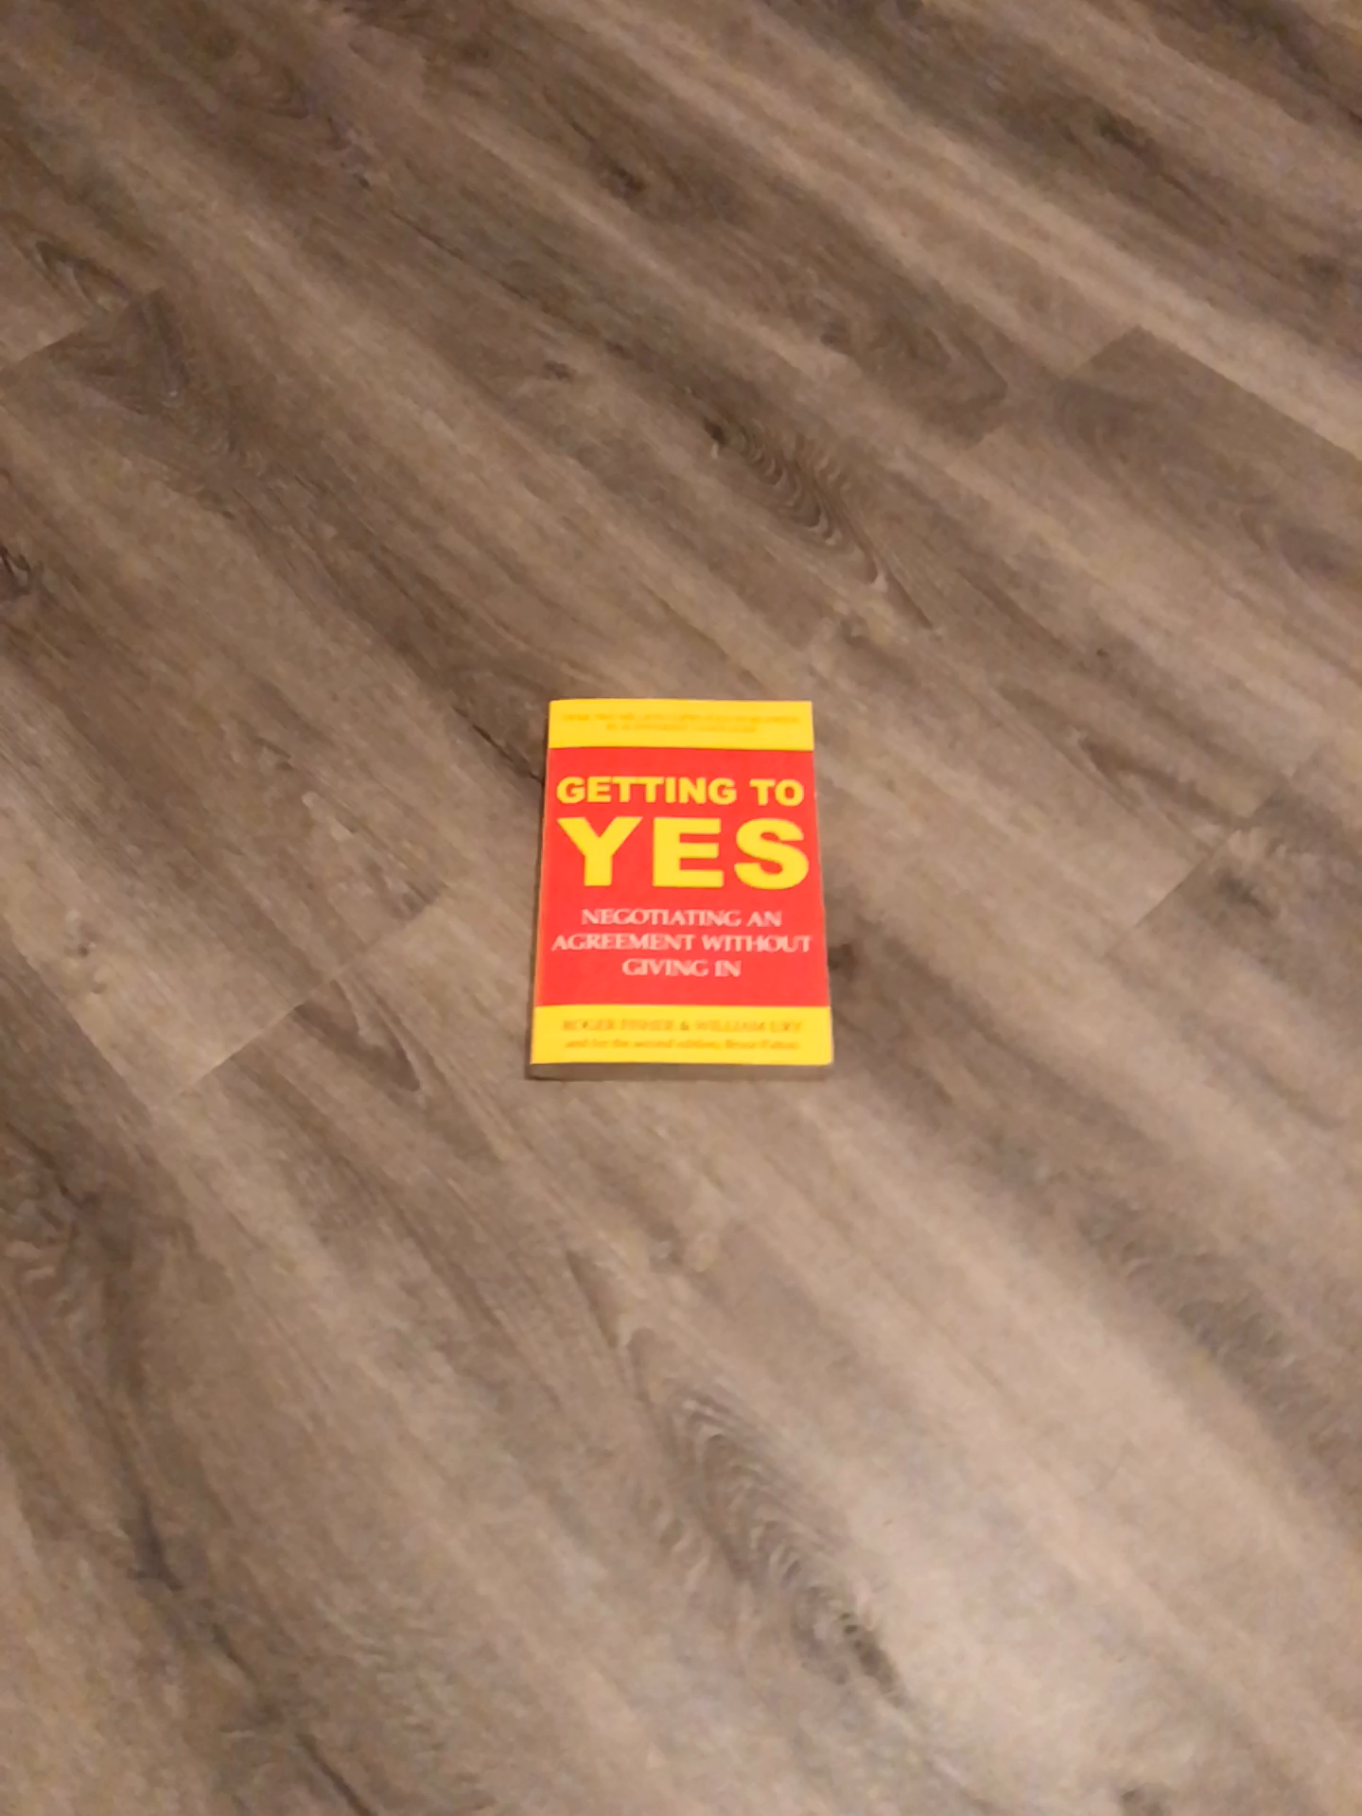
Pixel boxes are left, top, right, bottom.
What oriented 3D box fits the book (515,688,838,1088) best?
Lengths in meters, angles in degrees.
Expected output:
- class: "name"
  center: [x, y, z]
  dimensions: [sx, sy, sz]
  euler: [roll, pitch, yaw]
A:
- class: "book"
  center: [-0.003, -0.014, 0.666]
  dimensions: [0.130, 0.026, 0.191]
  euler: [0, 59, 0]
